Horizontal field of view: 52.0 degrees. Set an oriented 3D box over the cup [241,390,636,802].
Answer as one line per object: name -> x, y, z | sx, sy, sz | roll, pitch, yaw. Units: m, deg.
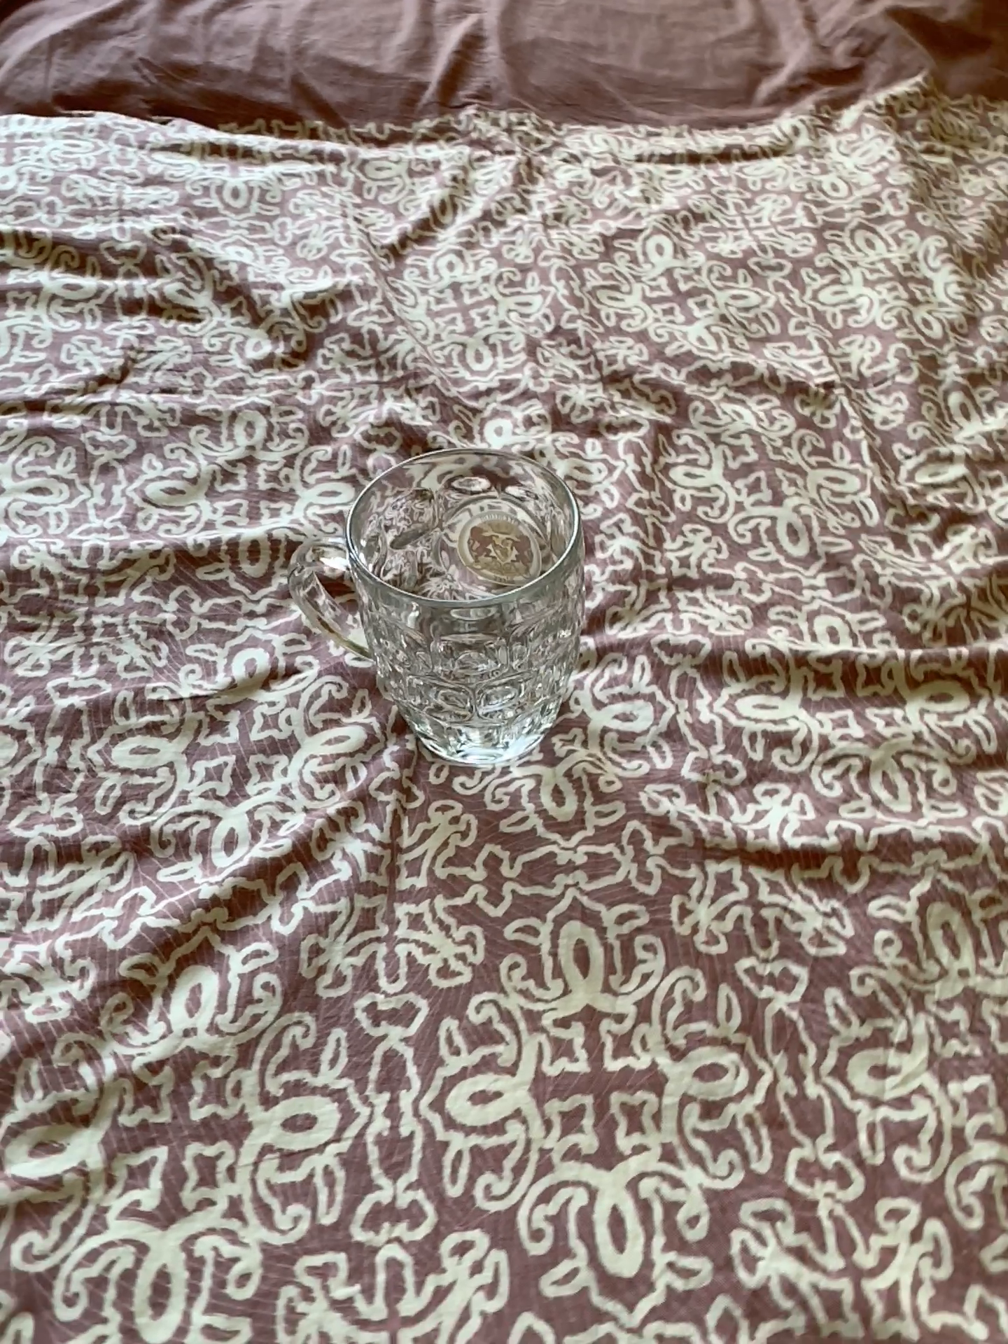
cup -> -0.022, -0.031, 0.420 | 0.120, 0.109, 0.091 | 16, 49, 12
